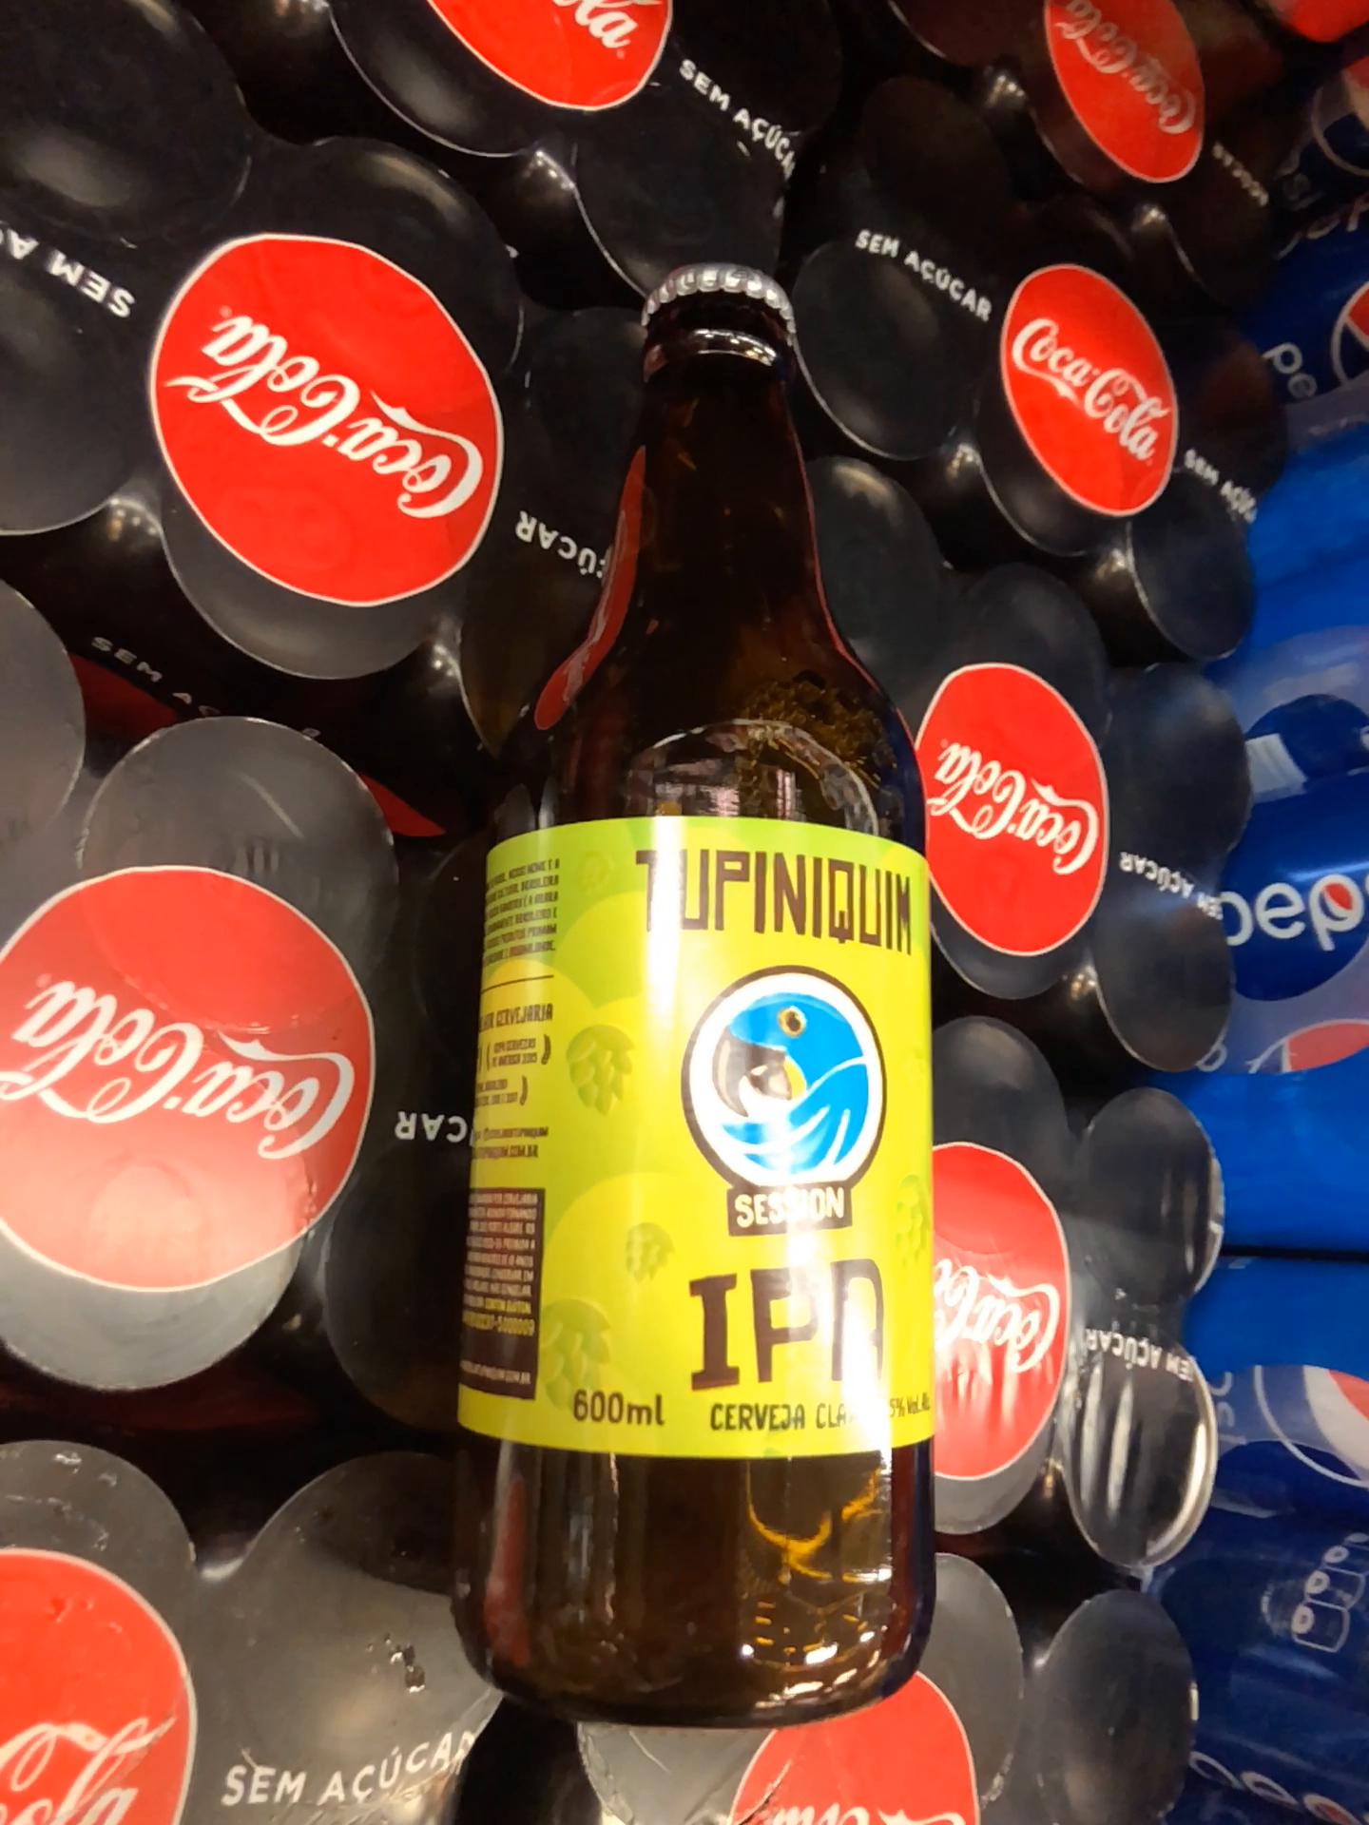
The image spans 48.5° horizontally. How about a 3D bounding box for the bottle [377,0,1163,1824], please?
[{"bbox_3d":[0.012,-0.008,0.246,0.090,0.070,0.260,8,77,-33],"label":"bottle"}]
